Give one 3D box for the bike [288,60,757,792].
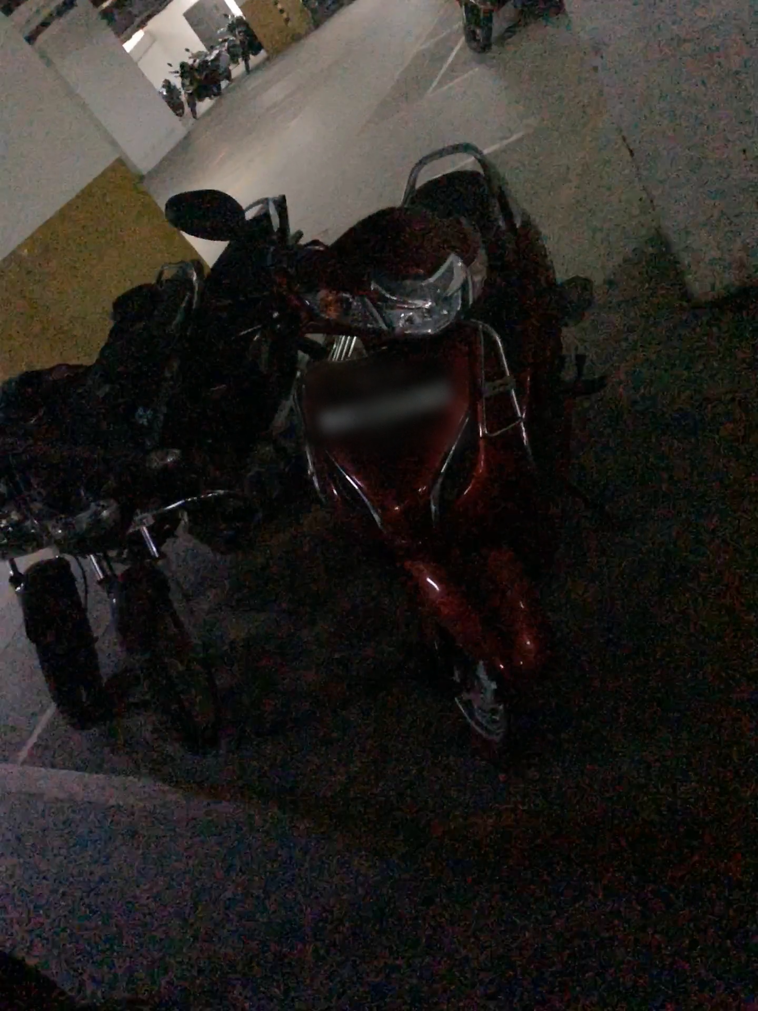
[{"bbox_3d":[0.276,-0.253,1.908,0.487,0.908,1.396,-27,42,21],"label":"bike"}]
